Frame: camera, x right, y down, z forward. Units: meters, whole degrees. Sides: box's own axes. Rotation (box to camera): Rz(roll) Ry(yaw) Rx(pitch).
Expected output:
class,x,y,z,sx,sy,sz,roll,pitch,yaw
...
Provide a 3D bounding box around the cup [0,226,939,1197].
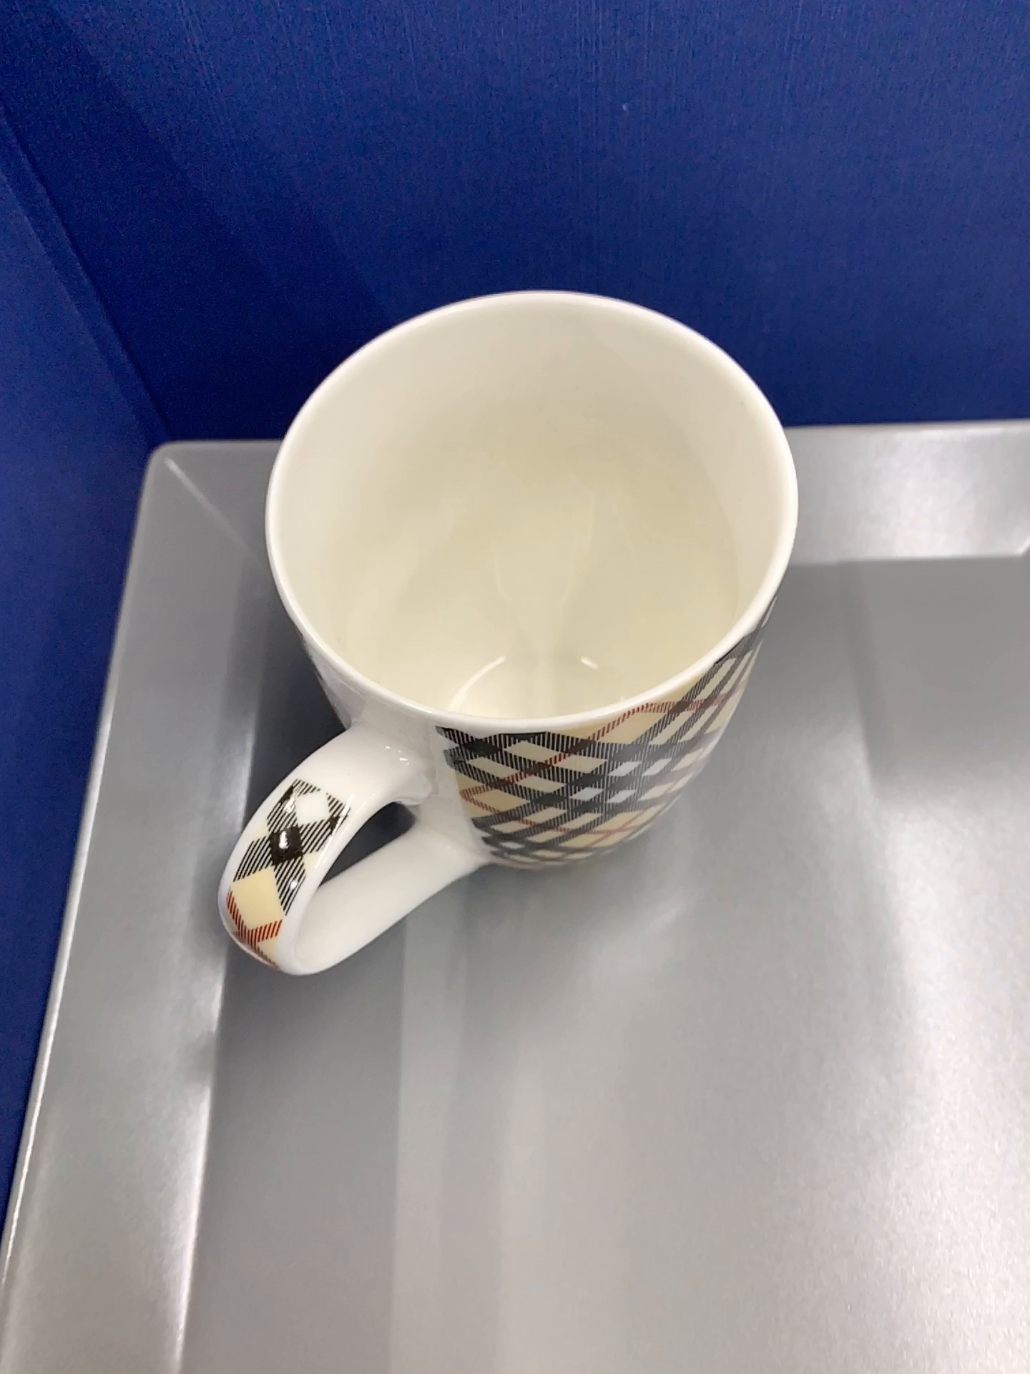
class,x,y,z,sx,sy,sz,roll,pitch,yaw
cup,-0.005,0.008,0.203,0.091,0.104,0.121,33,67,21
